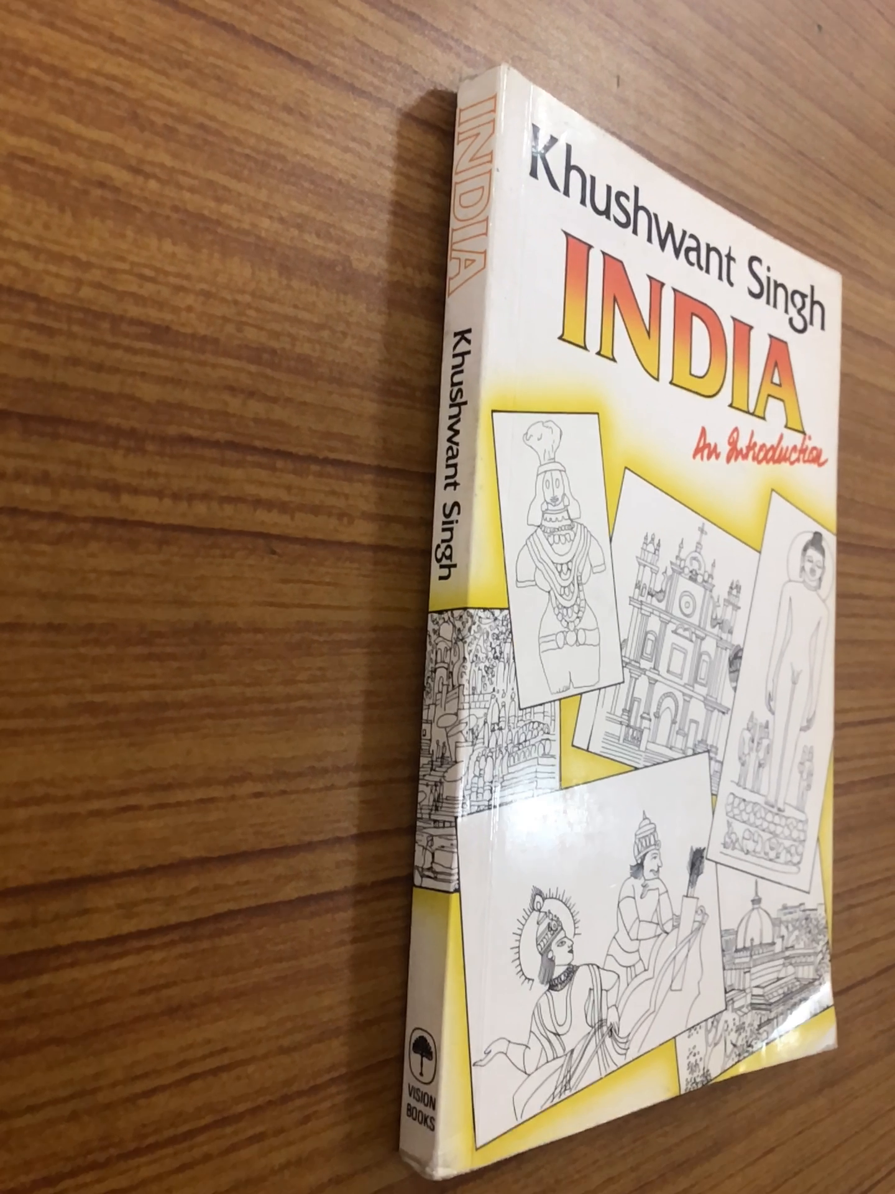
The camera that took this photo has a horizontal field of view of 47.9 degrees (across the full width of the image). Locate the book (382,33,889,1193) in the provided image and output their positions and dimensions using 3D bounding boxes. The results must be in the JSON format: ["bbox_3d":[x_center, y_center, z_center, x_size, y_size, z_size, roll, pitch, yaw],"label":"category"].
[{"bbox_3d":[0.053,0.006,0.216,0.141,0.020,0.190,8,83,-42],"label":"book"}]
